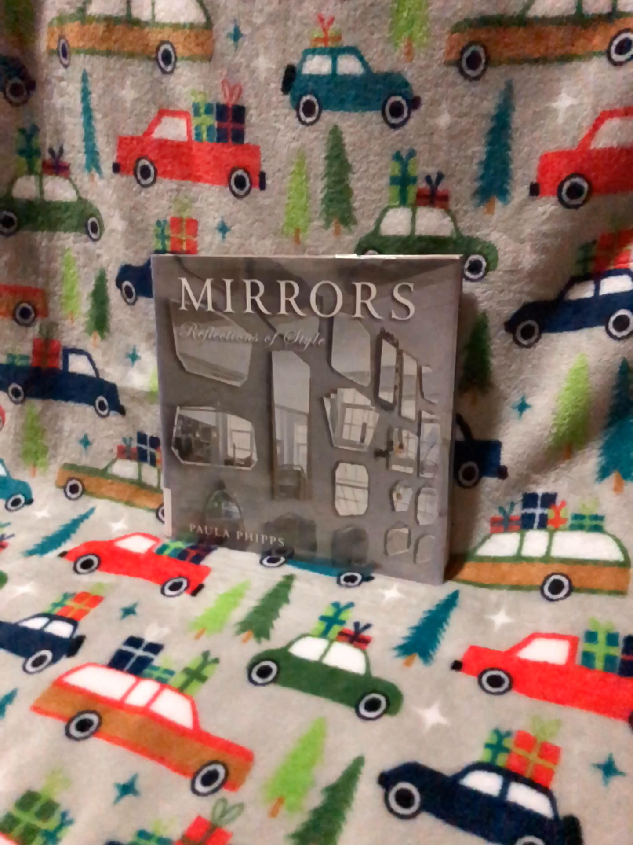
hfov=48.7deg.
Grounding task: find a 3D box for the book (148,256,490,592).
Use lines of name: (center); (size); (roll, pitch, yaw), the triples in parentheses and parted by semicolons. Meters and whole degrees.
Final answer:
book: (-0.004, -0.005, 0.475); (0.223, 0.208, 0.030); (5, 16, 20)
